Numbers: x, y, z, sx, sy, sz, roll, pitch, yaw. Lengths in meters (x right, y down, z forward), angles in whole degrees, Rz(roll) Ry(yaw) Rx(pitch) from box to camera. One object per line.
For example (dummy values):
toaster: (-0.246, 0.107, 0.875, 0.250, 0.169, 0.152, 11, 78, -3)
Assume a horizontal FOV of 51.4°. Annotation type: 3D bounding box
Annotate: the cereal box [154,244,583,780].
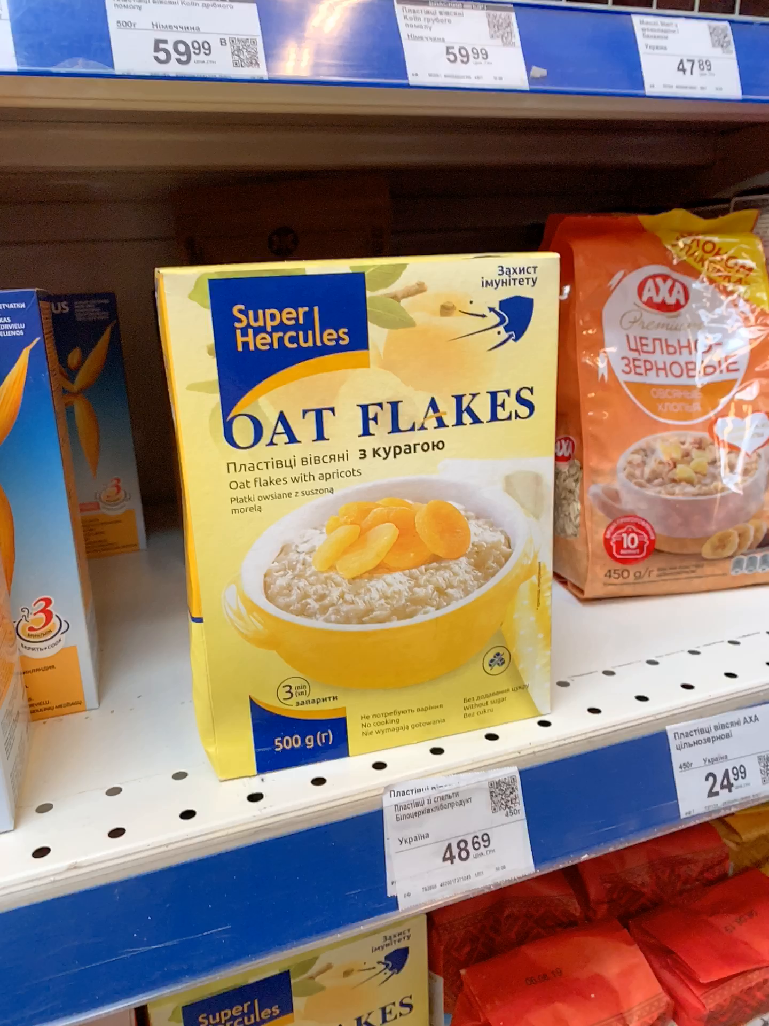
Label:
cereal box: (-0.004, -0.007, 0.325, 0.150, 0.189, 0.060, -7, 17, -16)
